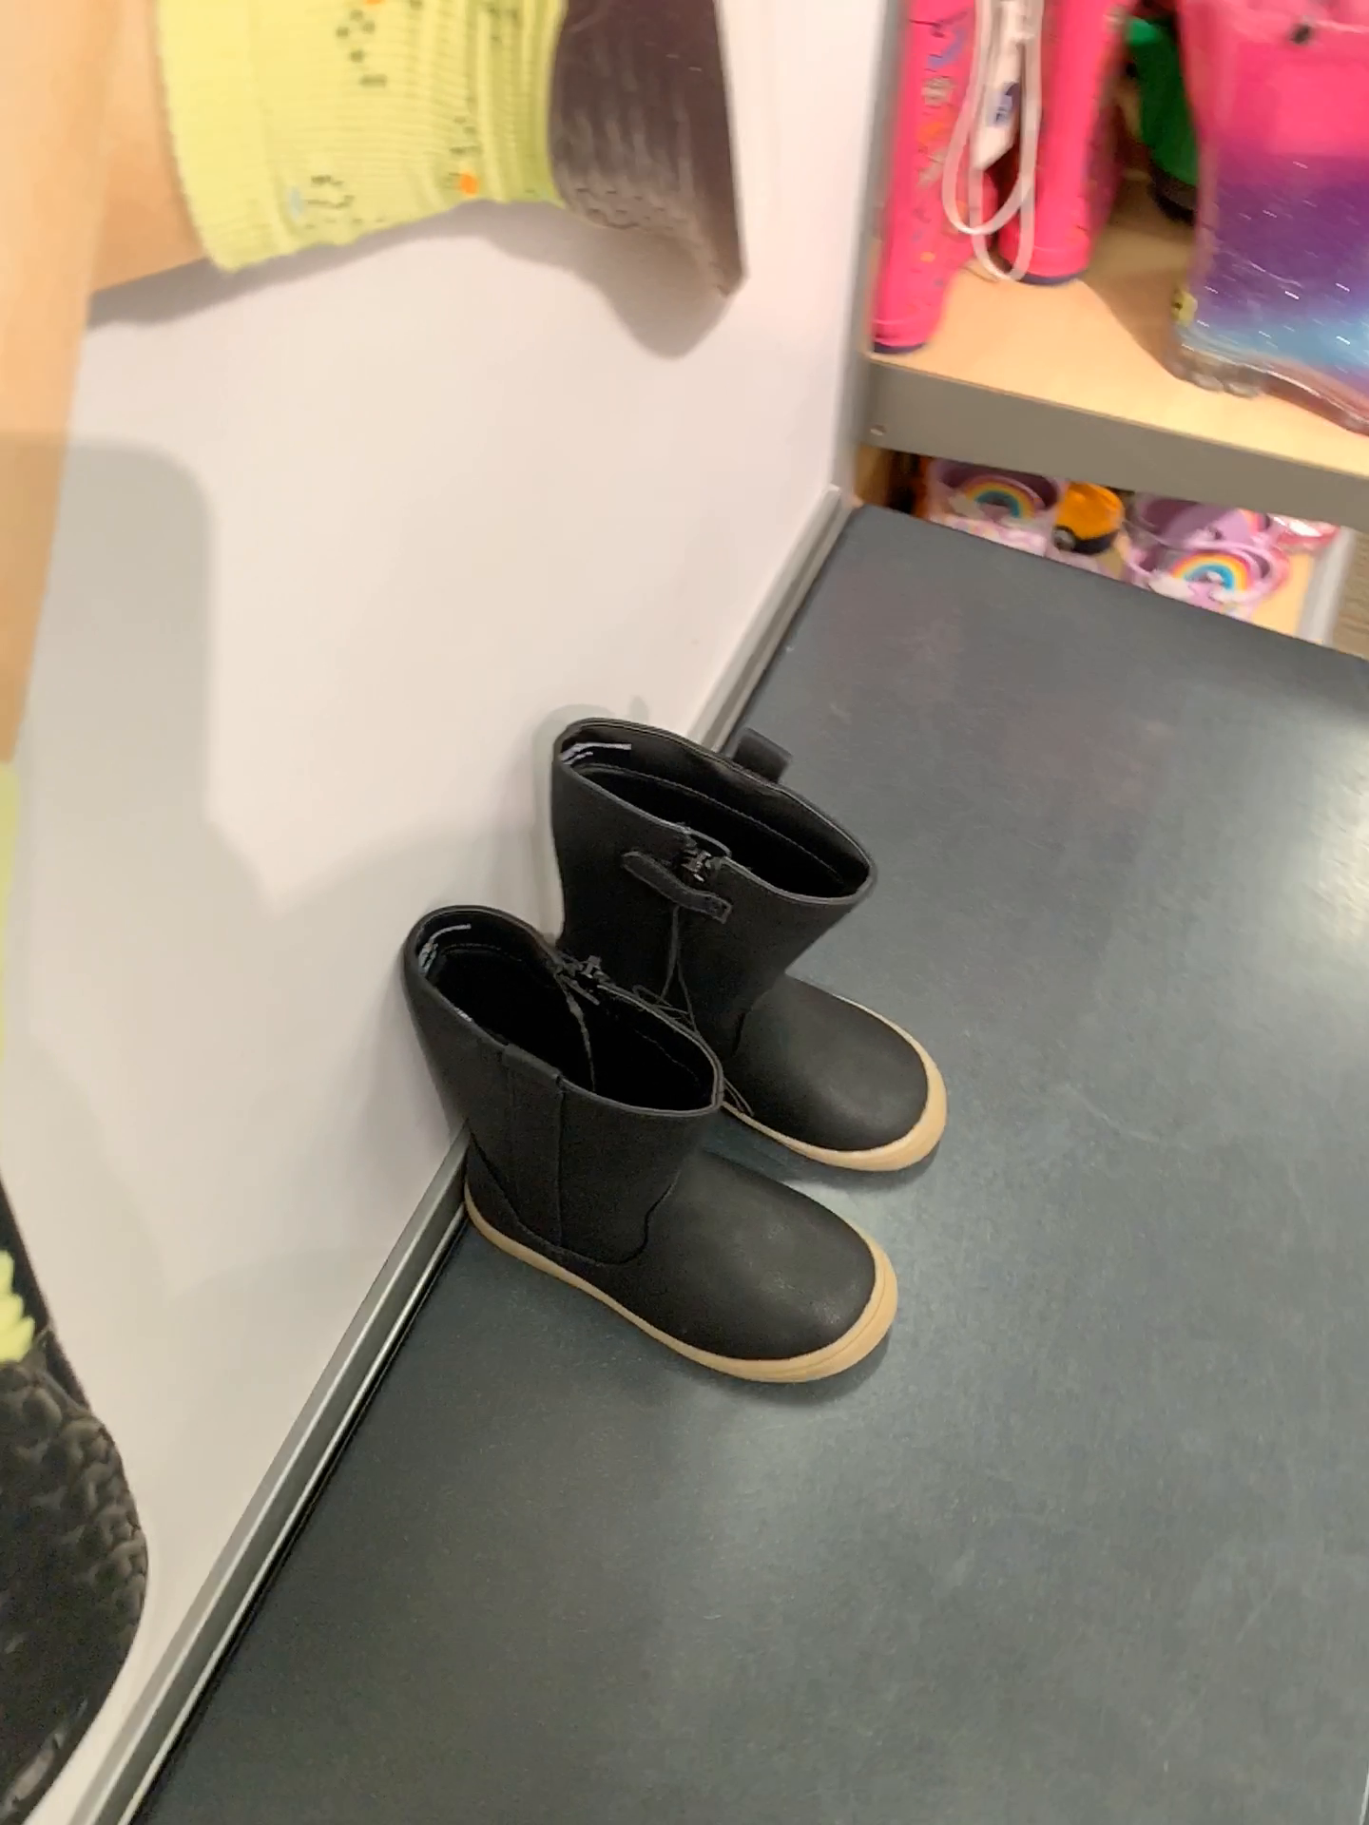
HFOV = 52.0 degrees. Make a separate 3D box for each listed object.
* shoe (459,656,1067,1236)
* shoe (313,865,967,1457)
[{"bbox_3d":[0.026,0.023,0.560,0.190,0.199,0.080,21,61,13],"label":"shoe"},{"bbox_3d":[-0.015,0.102,0.526,0.190,0.199,0.080,23,61,14],"label":"shoe"}]
